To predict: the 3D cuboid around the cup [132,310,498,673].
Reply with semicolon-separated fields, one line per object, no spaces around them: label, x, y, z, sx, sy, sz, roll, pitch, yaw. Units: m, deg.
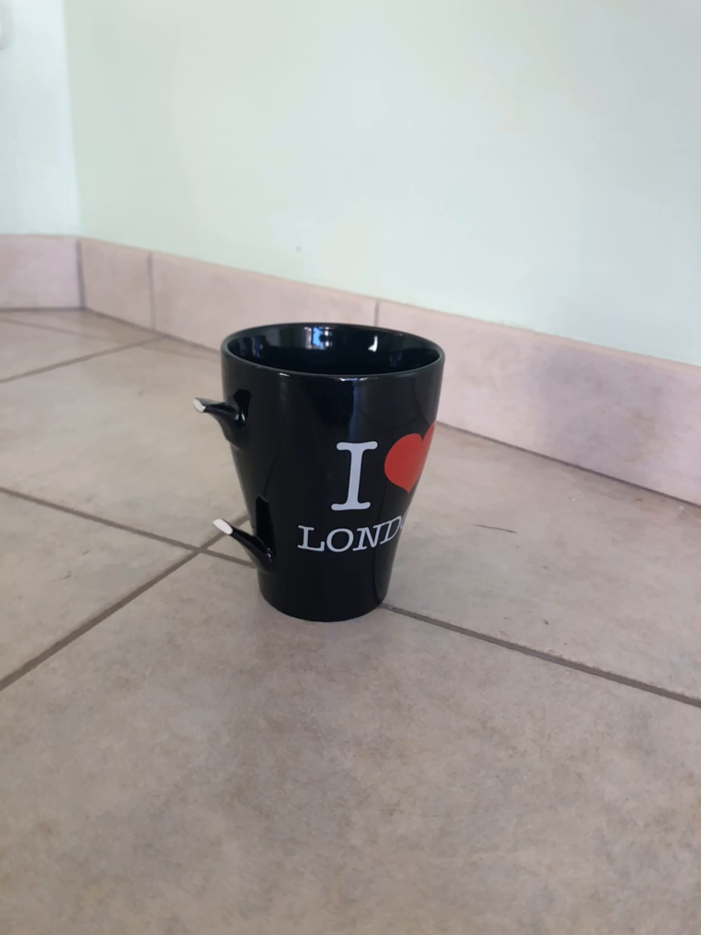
cup;-0.017;-0.001;0.327;0.108;0.103;0.098;-15;28;-37
